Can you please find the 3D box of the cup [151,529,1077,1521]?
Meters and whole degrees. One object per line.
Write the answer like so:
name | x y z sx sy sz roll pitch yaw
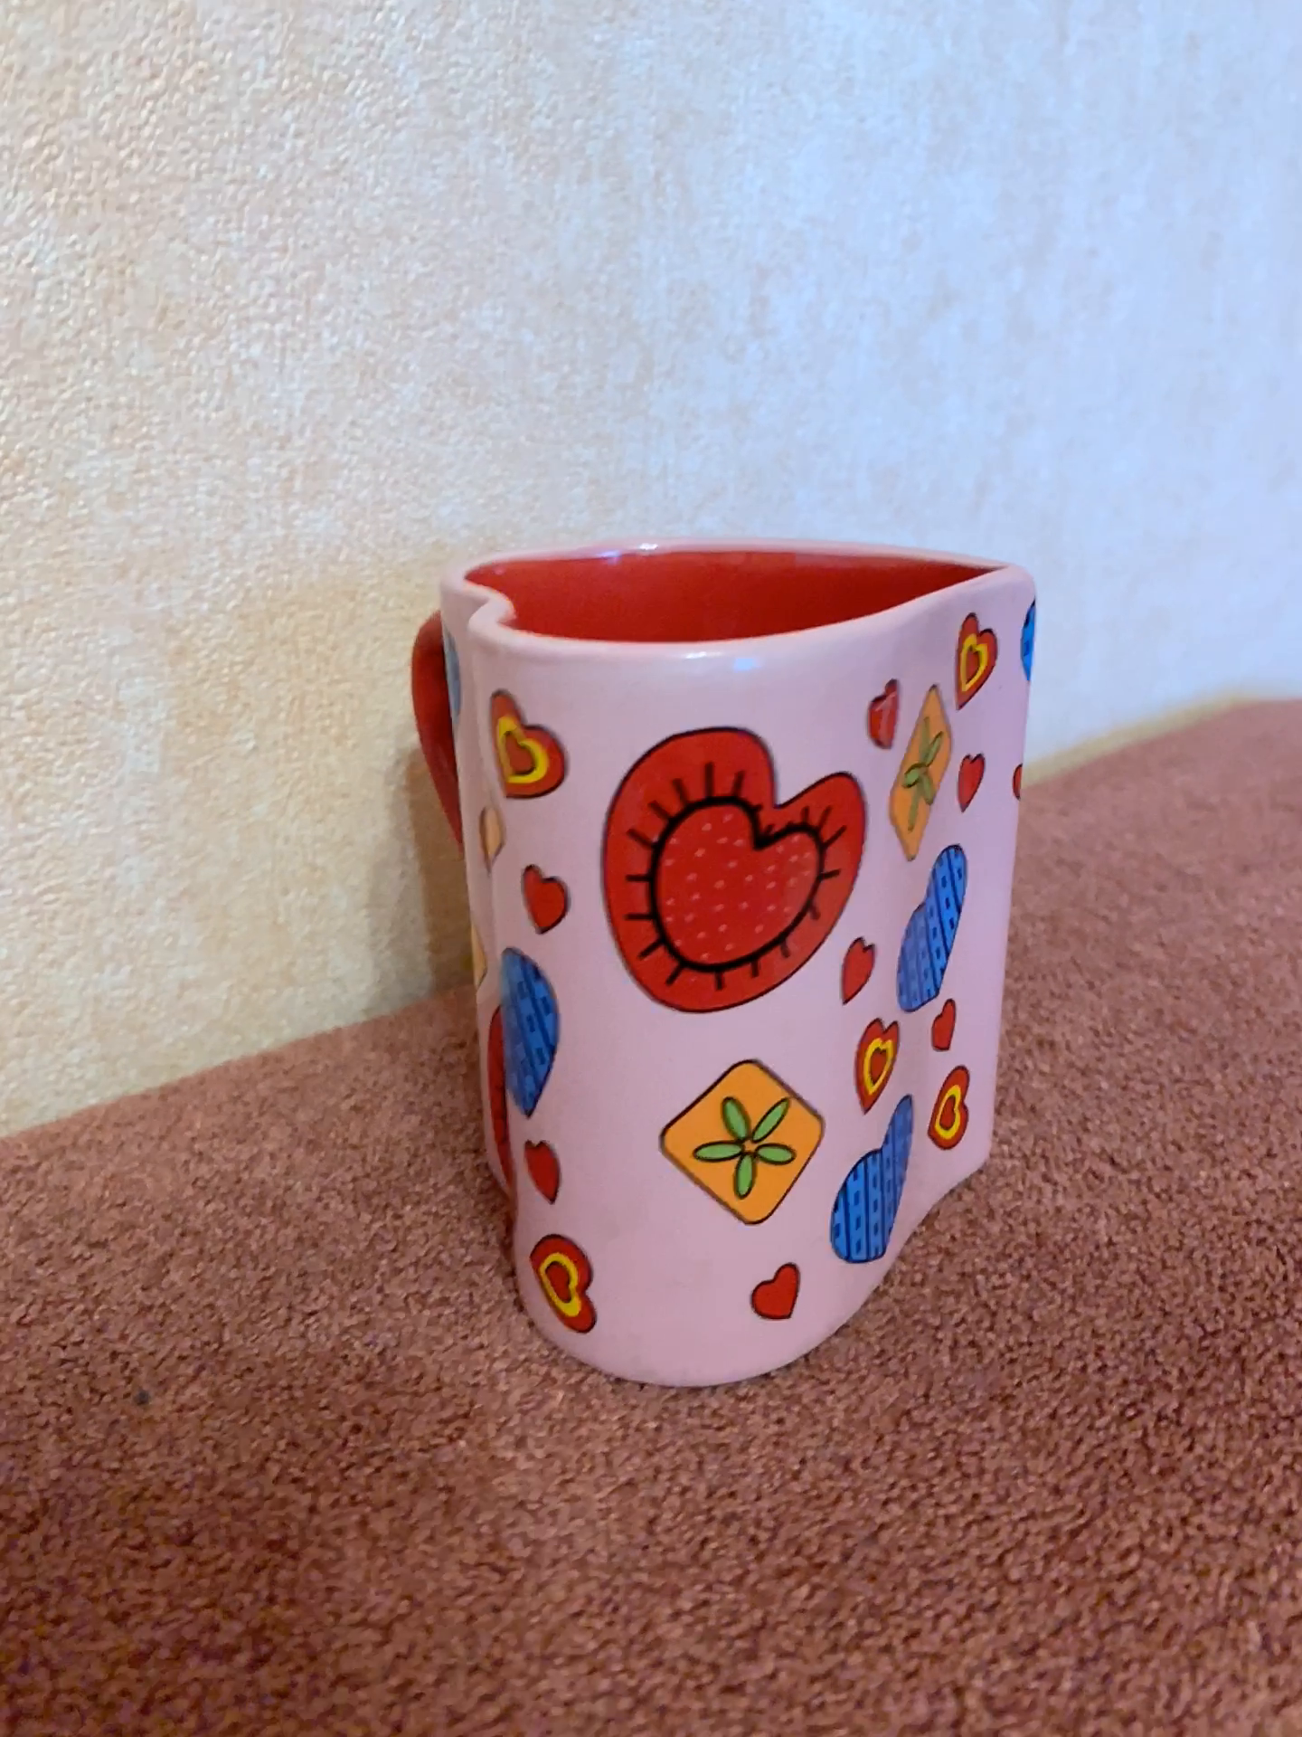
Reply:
cup | 0.001 0.007 0.185 0.082 0.091 0.085 -1 20 0
